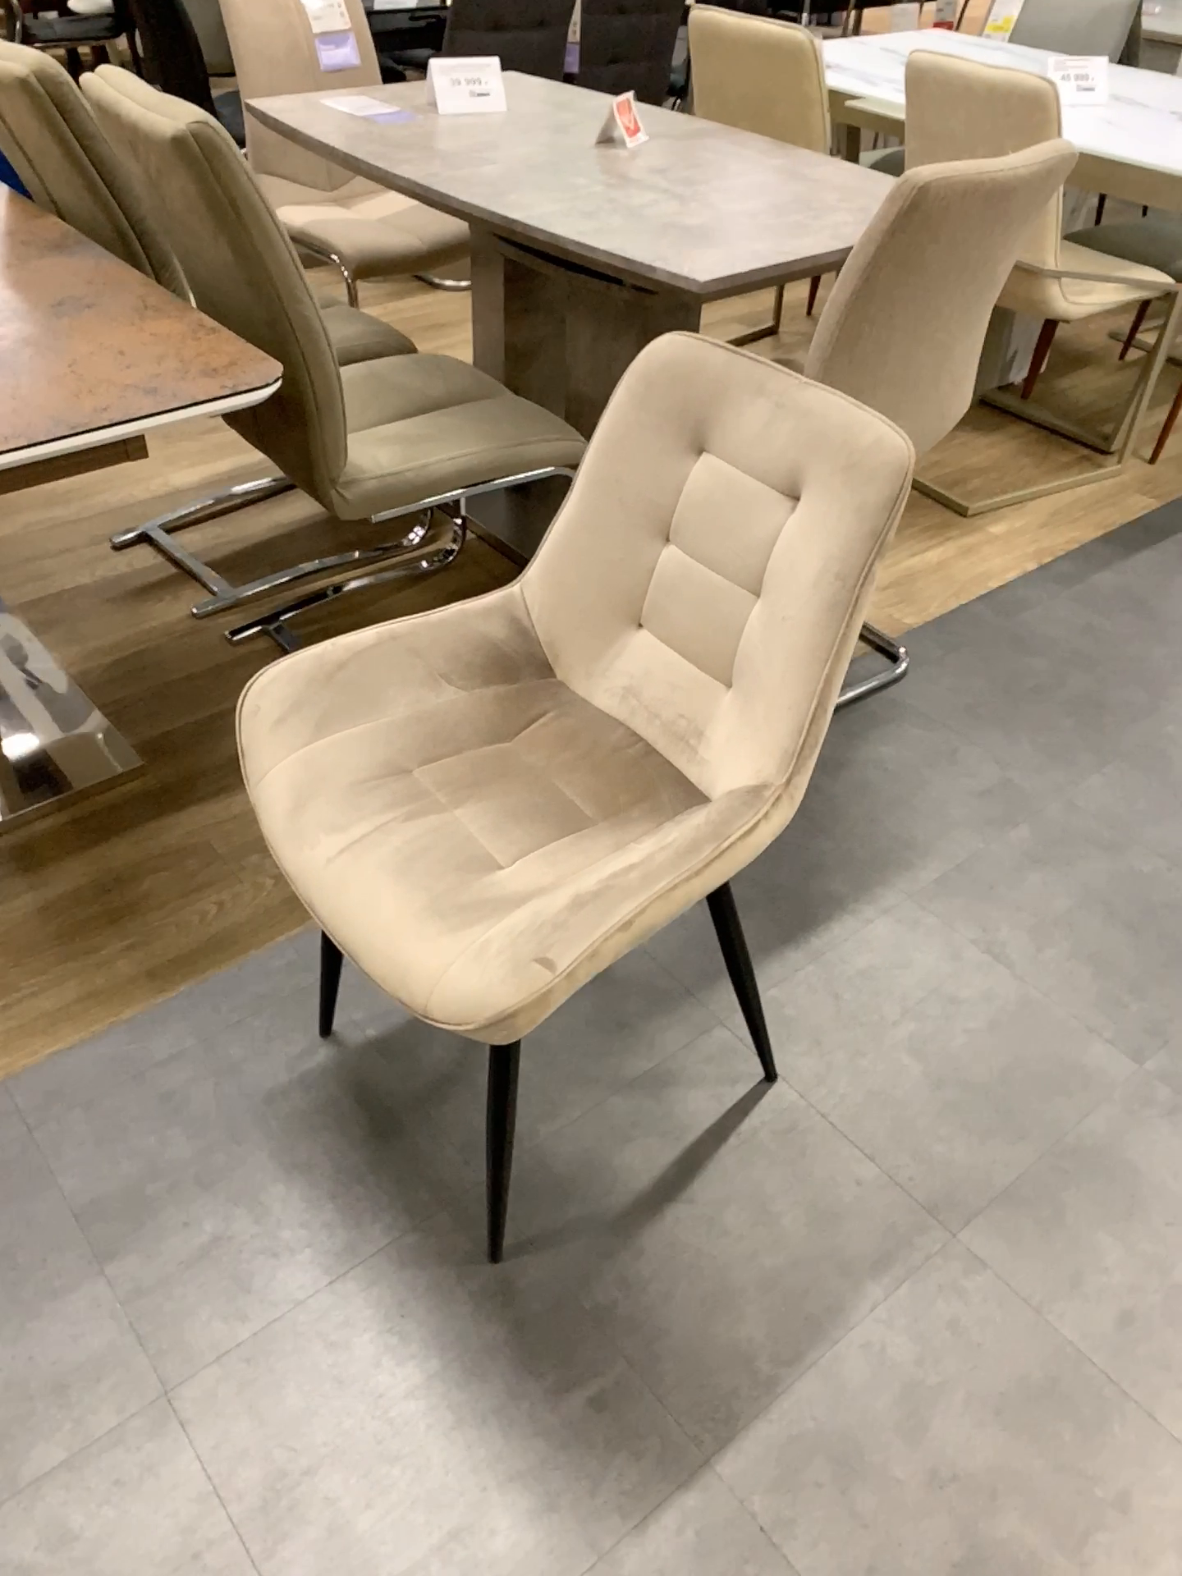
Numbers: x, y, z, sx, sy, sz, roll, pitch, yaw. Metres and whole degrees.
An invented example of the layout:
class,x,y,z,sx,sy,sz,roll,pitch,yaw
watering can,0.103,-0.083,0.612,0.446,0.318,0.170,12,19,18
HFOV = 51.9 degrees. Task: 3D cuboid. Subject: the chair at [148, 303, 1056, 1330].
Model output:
class,x,y,z,sx,sy,sz,roll,pitch,yaw
chair,-0.013,0.005,1.364,0.611,0.817,0.568,-24,46,-29
